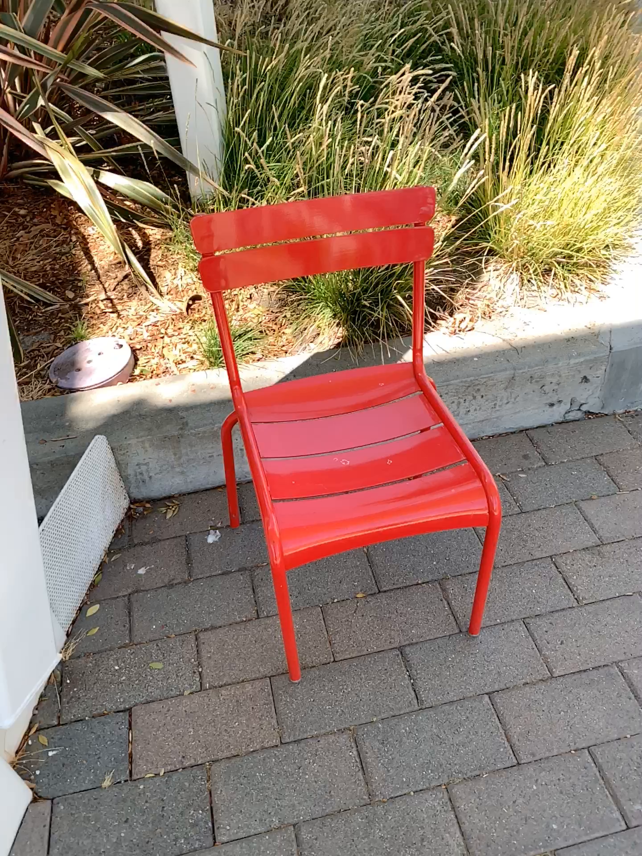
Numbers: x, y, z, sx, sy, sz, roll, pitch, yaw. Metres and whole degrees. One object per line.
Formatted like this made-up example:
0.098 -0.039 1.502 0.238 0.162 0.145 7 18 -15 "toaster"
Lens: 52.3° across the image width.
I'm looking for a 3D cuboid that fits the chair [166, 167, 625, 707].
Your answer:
0.074 0.009 1.339 0.580 0.785 0.634 -11 42 -9 "chair"
